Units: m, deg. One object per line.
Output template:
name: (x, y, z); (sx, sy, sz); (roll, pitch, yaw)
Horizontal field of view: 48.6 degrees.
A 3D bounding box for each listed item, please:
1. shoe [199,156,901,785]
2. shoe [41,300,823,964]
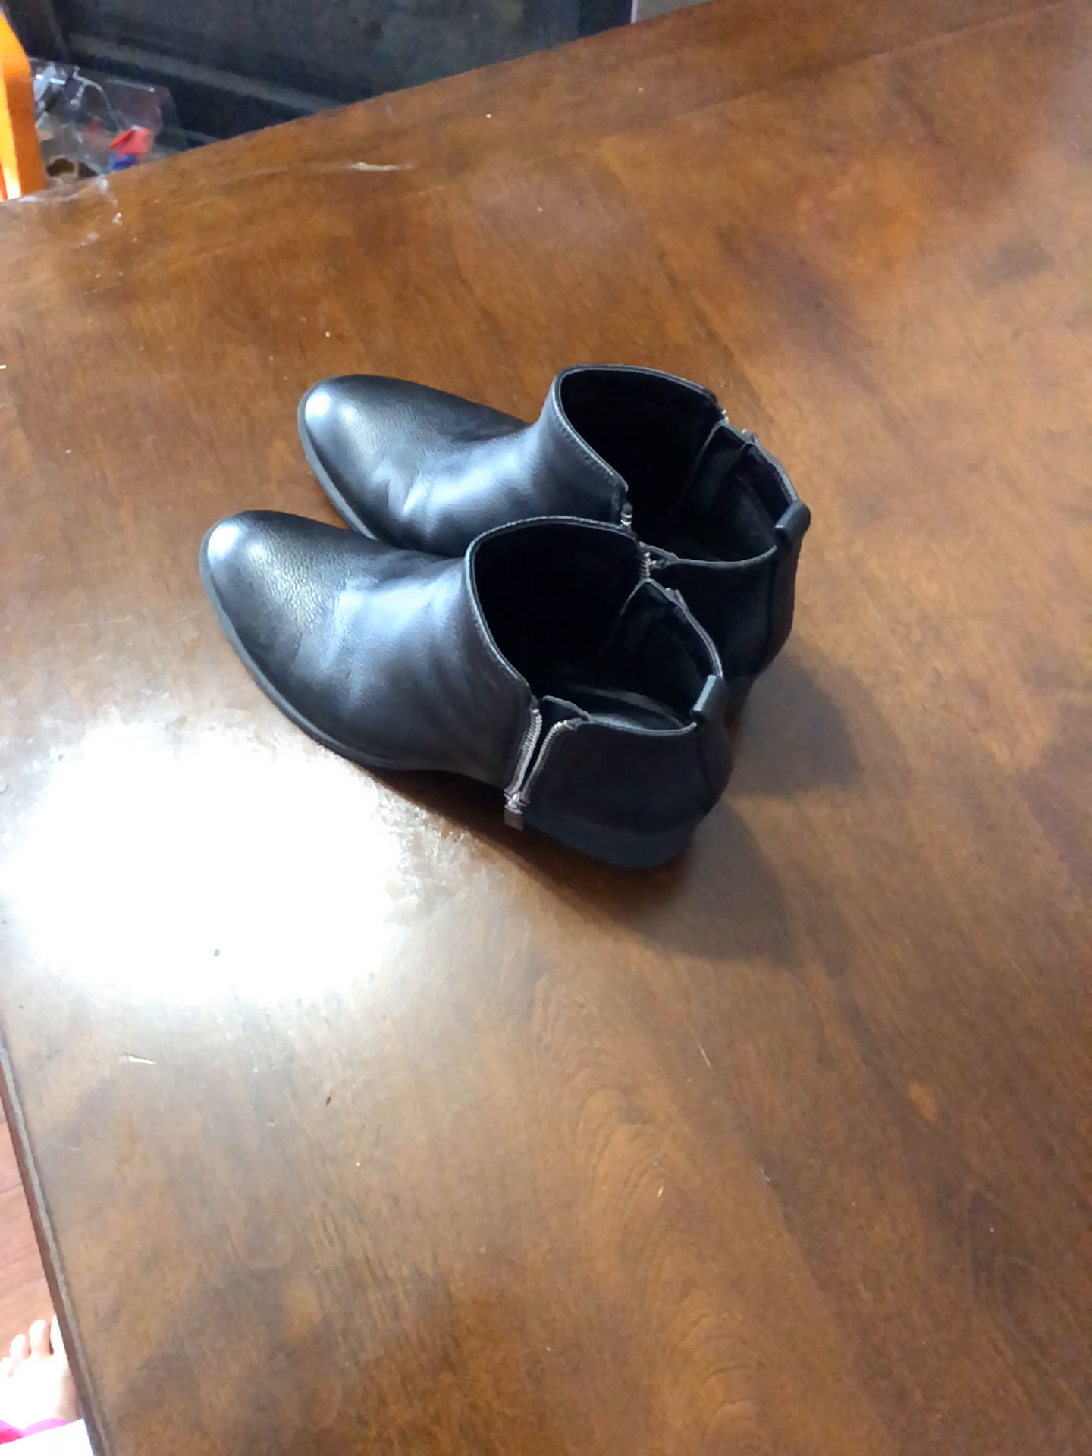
shoe: (-0.004, -0.109, 0.522); (0.260, 0.130, 0.100); (33, 68, 14)
shoe: (-0.044, -0.034, 0.477); (0.260, 0.130, 0.100); (31, 68, 12)
